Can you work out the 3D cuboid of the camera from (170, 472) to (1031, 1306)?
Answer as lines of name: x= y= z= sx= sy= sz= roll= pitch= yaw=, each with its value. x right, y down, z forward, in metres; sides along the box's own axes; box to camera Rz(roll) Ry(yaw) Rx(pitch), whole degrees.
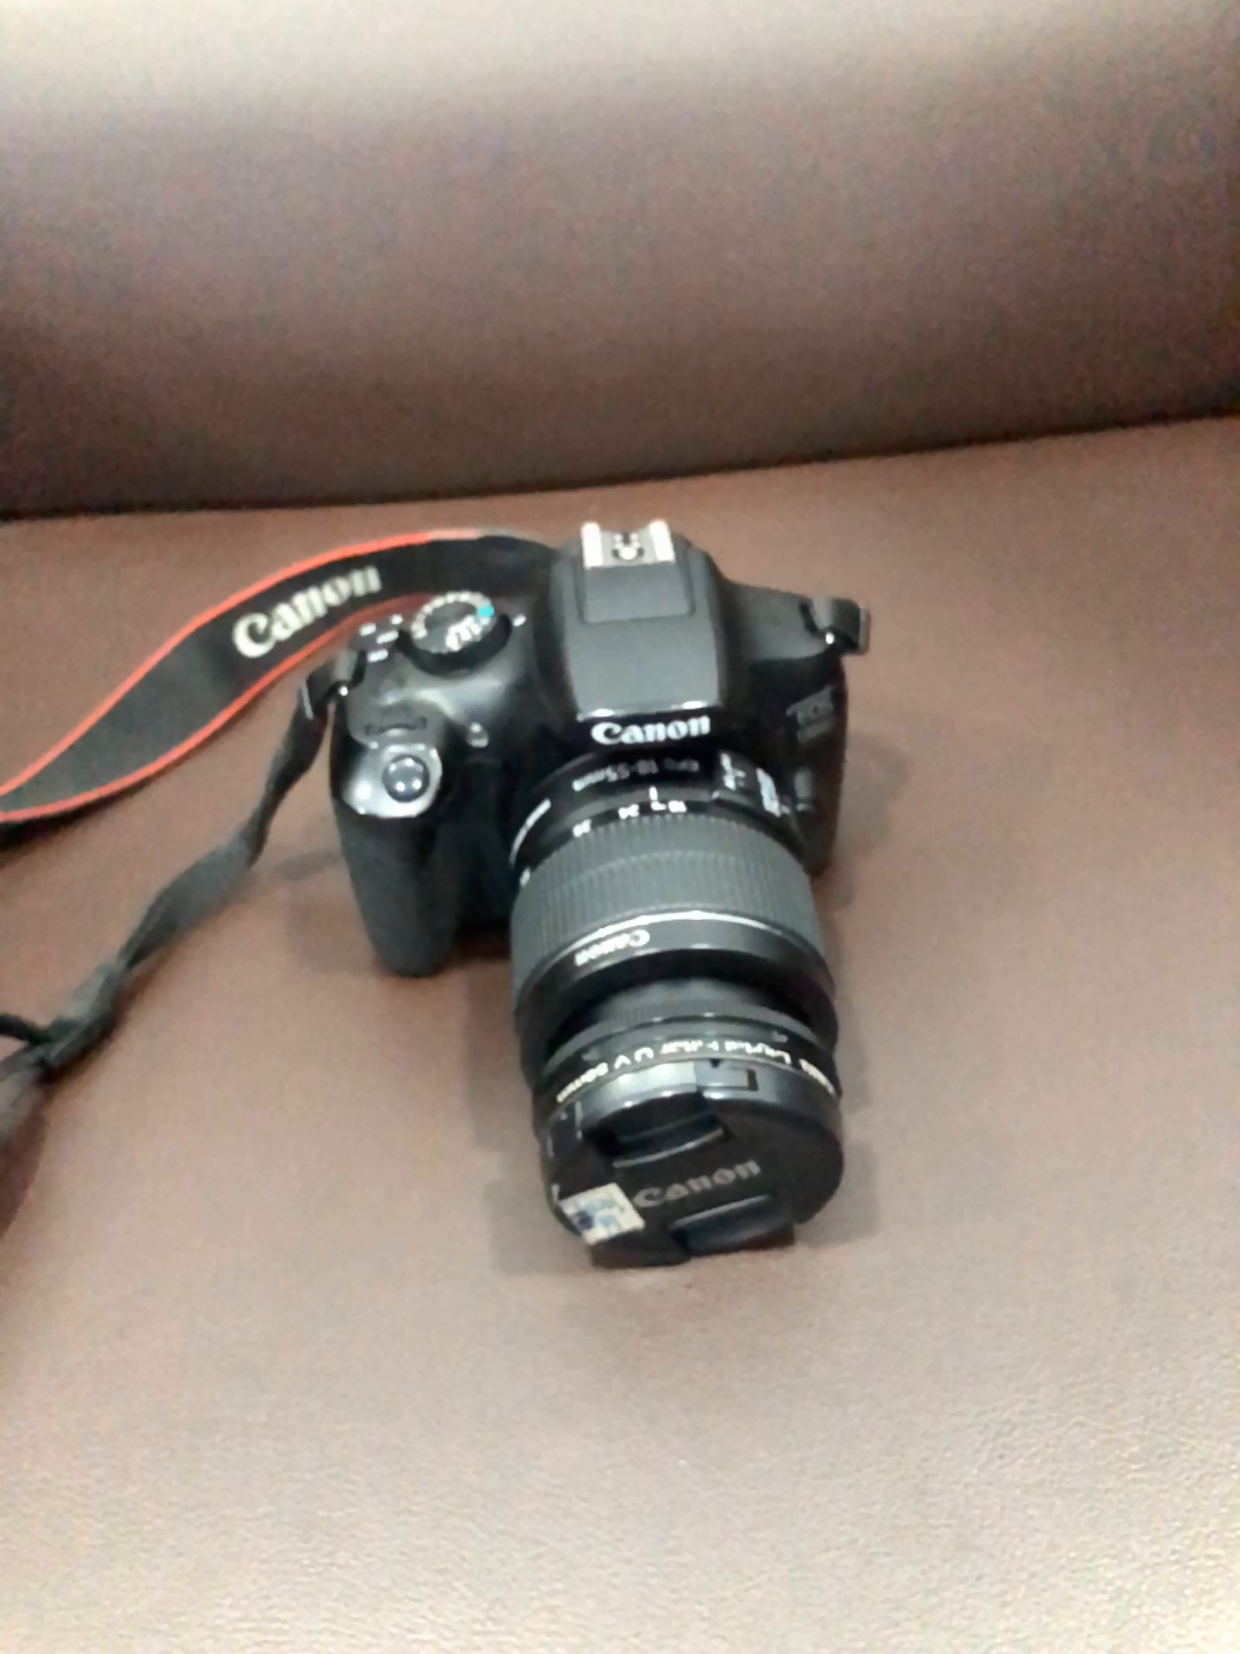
camera: x=-0.003 y=0.007 z=0.291 sx=0.130 sy=0.089 sz=0.141 roll=-5 pitch=42 yaw=1
